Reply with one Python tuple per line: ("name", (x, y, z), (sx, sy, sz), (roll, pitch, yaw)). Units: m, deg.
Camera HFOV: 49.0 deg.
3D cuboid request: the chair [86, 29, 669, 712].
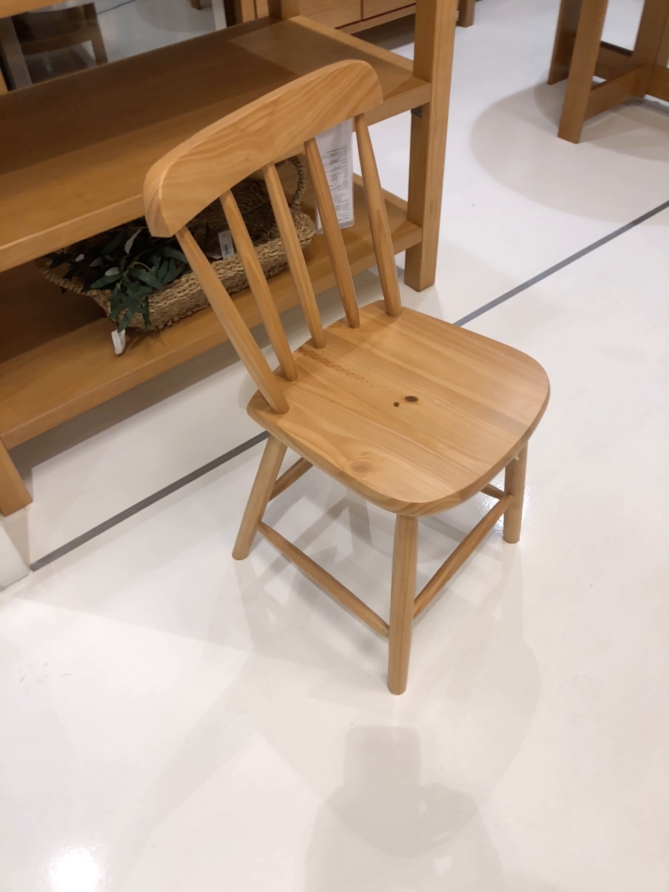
("chair", (0.059, -0.077, 1.047), (0.451, 0.755, 0.422), (30, 55, 27))
